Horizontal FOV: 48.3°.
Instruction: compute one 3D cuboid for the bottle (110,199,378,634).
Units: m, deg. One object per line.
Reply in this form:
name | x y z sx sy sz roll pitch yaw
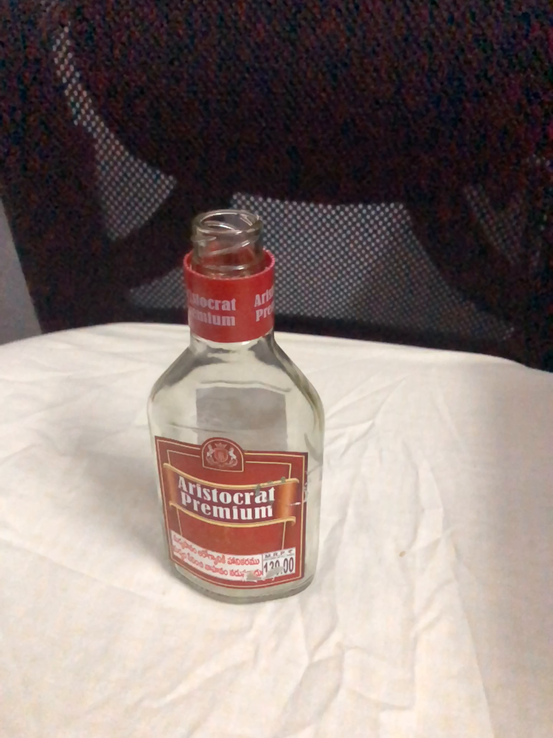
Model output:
bottle | -0.010 0.029 0.250 0.080 0.179 0.040 7 34 7
